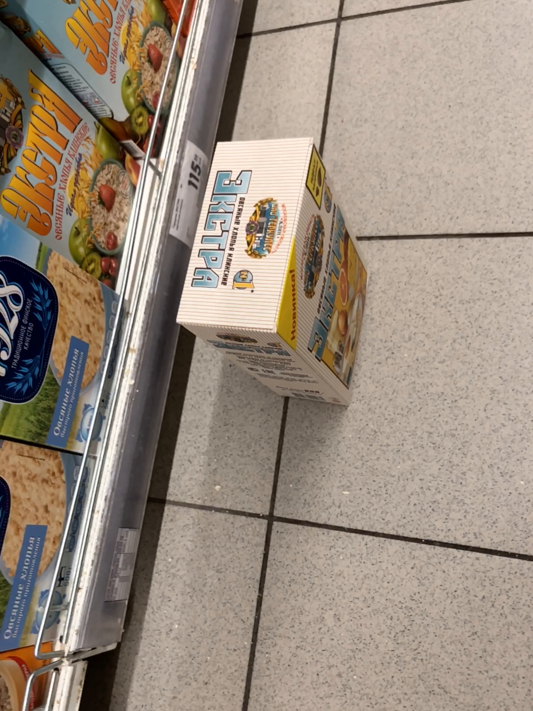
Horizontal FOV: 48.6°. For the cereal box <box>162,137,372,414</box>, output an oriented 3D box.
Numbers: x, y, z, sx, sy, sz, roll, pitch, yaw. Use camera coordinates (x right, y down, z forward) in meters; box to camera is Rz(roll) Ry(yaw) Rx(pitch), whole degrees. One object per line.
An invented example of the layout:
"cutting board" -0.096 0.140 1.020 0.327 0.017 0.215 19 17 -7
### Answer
"cereal box" 0.020 -0.050 0.516 0.080 0.239 0.150 5 76 22
